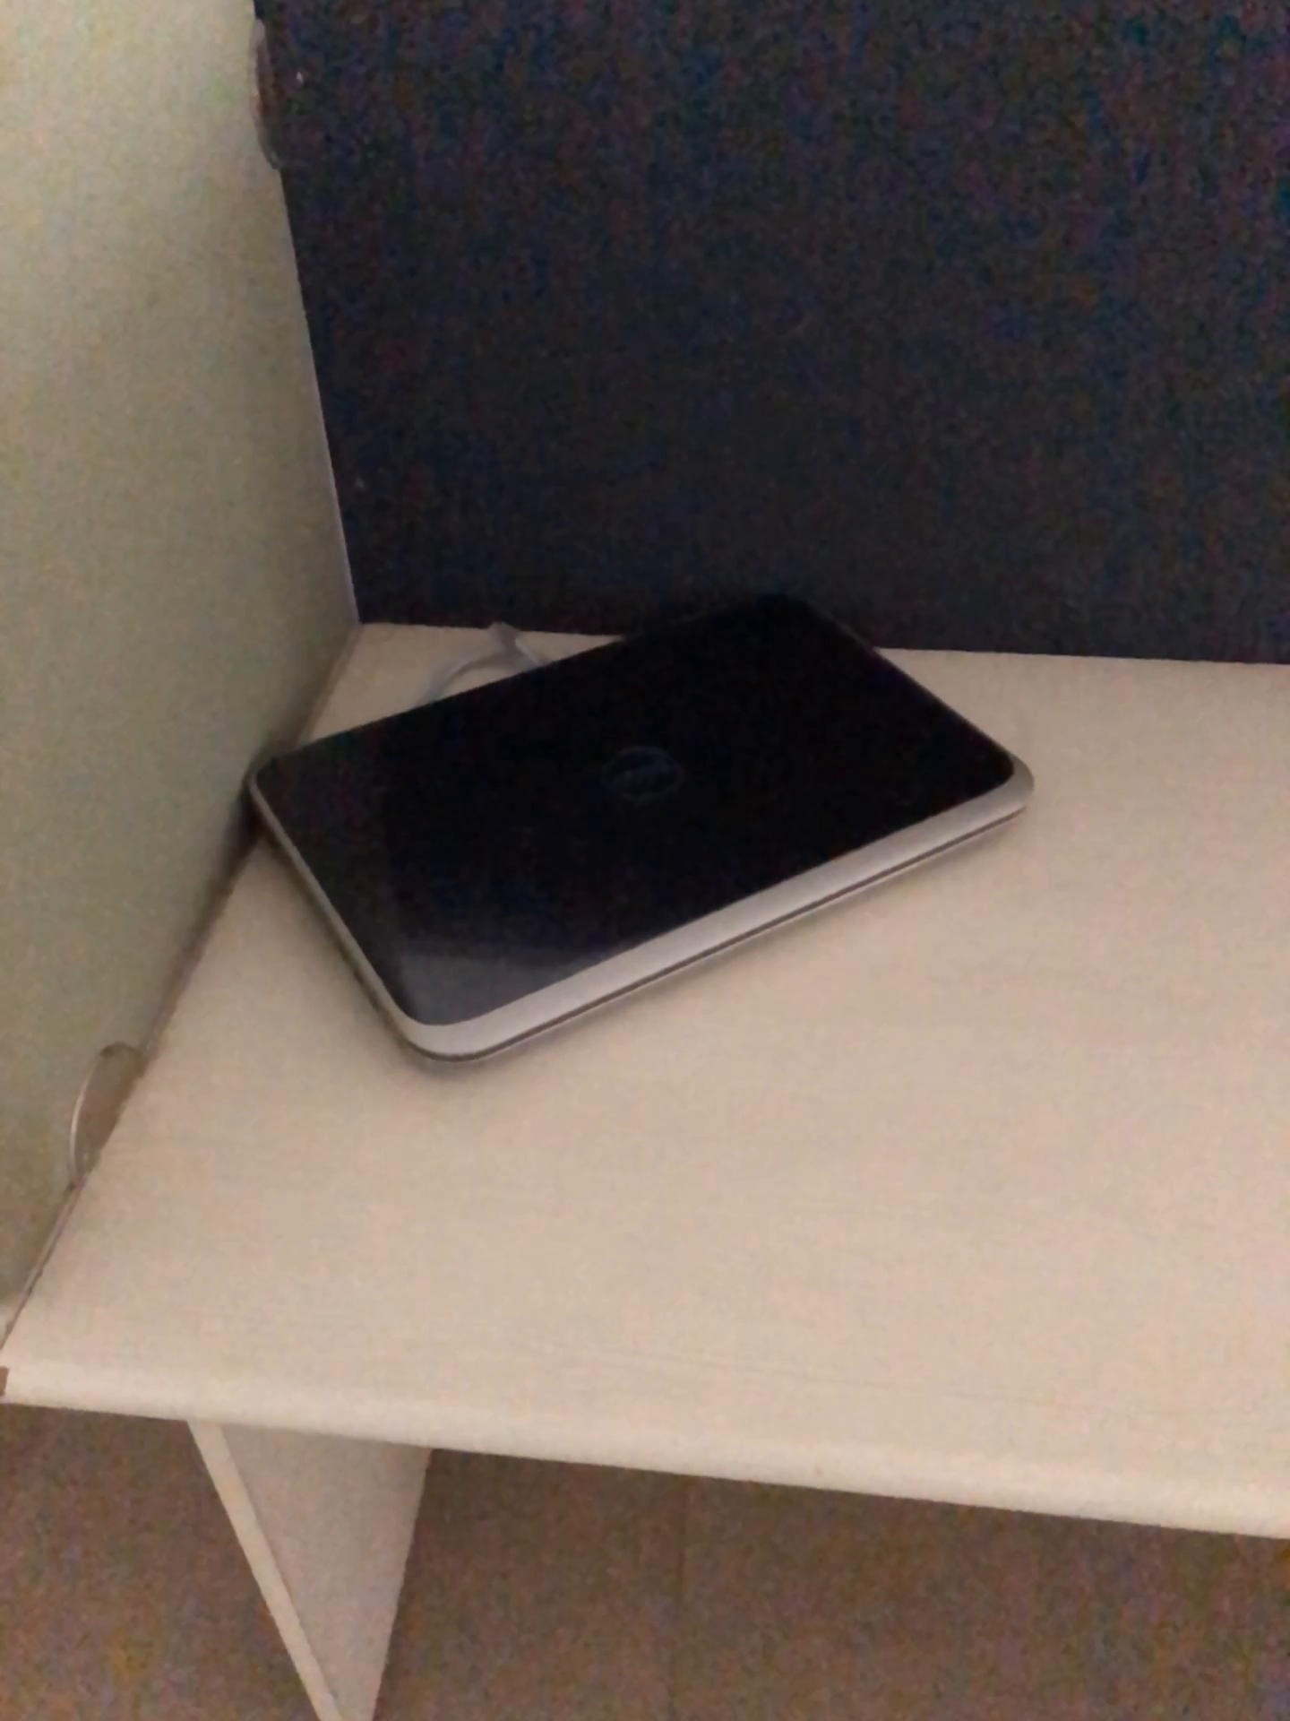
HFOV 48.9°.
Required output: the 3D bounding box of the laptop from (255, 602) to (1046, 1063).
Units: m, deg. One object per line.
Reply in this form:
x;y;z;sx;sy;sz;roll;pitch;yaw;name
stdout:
-0.002;-0.039;0.820;0.372;0.010;0.246;-22;45;-20;laptop
